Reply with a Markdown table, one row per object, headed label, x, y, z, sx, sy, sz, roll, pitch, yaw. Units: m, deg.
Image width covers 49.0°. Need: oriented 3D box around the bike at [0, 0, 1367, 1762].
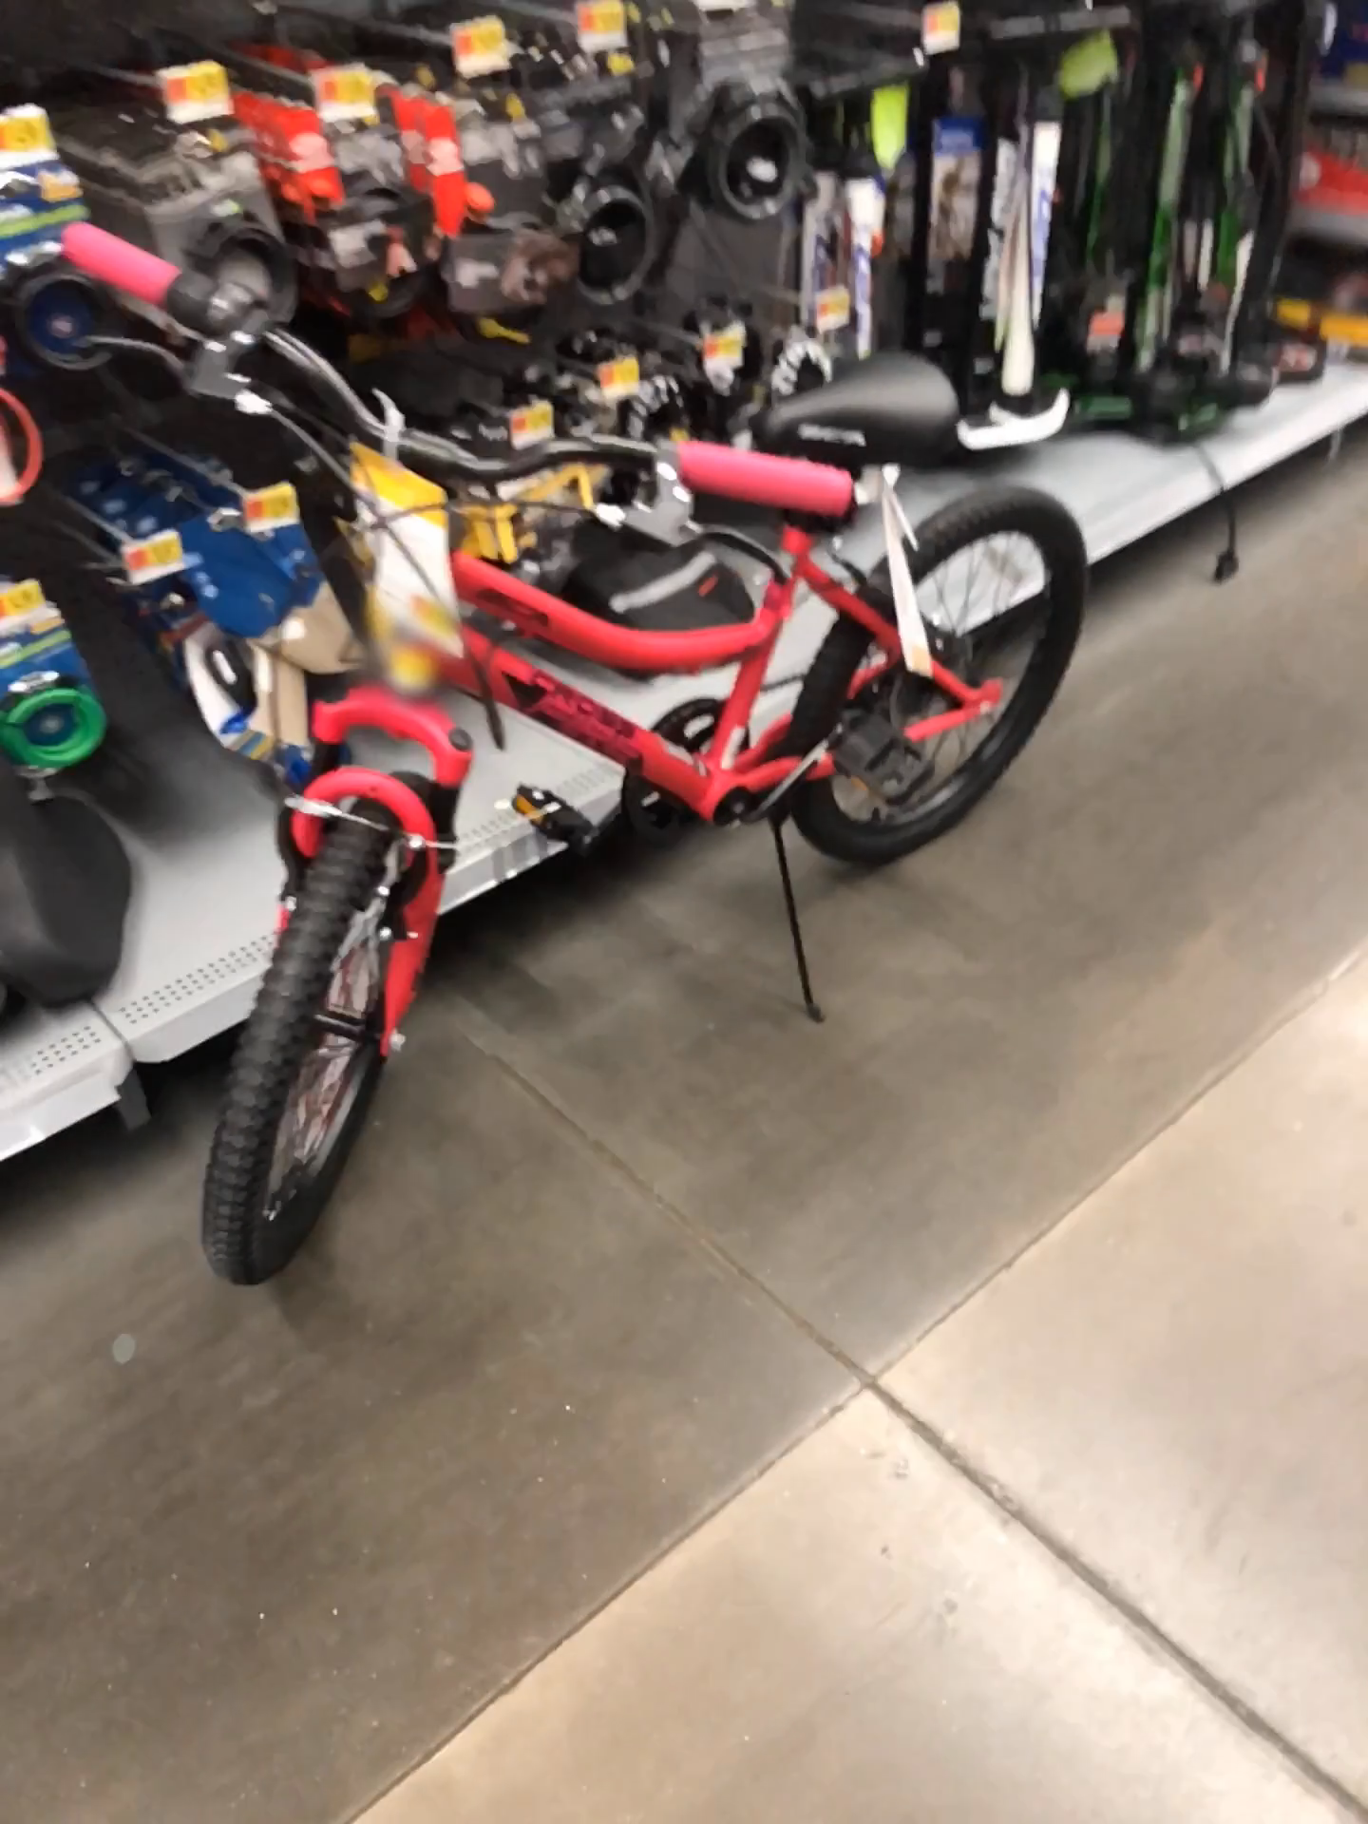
| label | x | y | z | sx | sy | sz | roll | pitch | yaw |
| --- | --- | --- | --- | --- | --- | --- | --- | --- | --- |
| bike | 0.102 | -0.167 | 1.327 | 0.609 | 0.878 | 1.227 | 30 | 51 | 35 |
